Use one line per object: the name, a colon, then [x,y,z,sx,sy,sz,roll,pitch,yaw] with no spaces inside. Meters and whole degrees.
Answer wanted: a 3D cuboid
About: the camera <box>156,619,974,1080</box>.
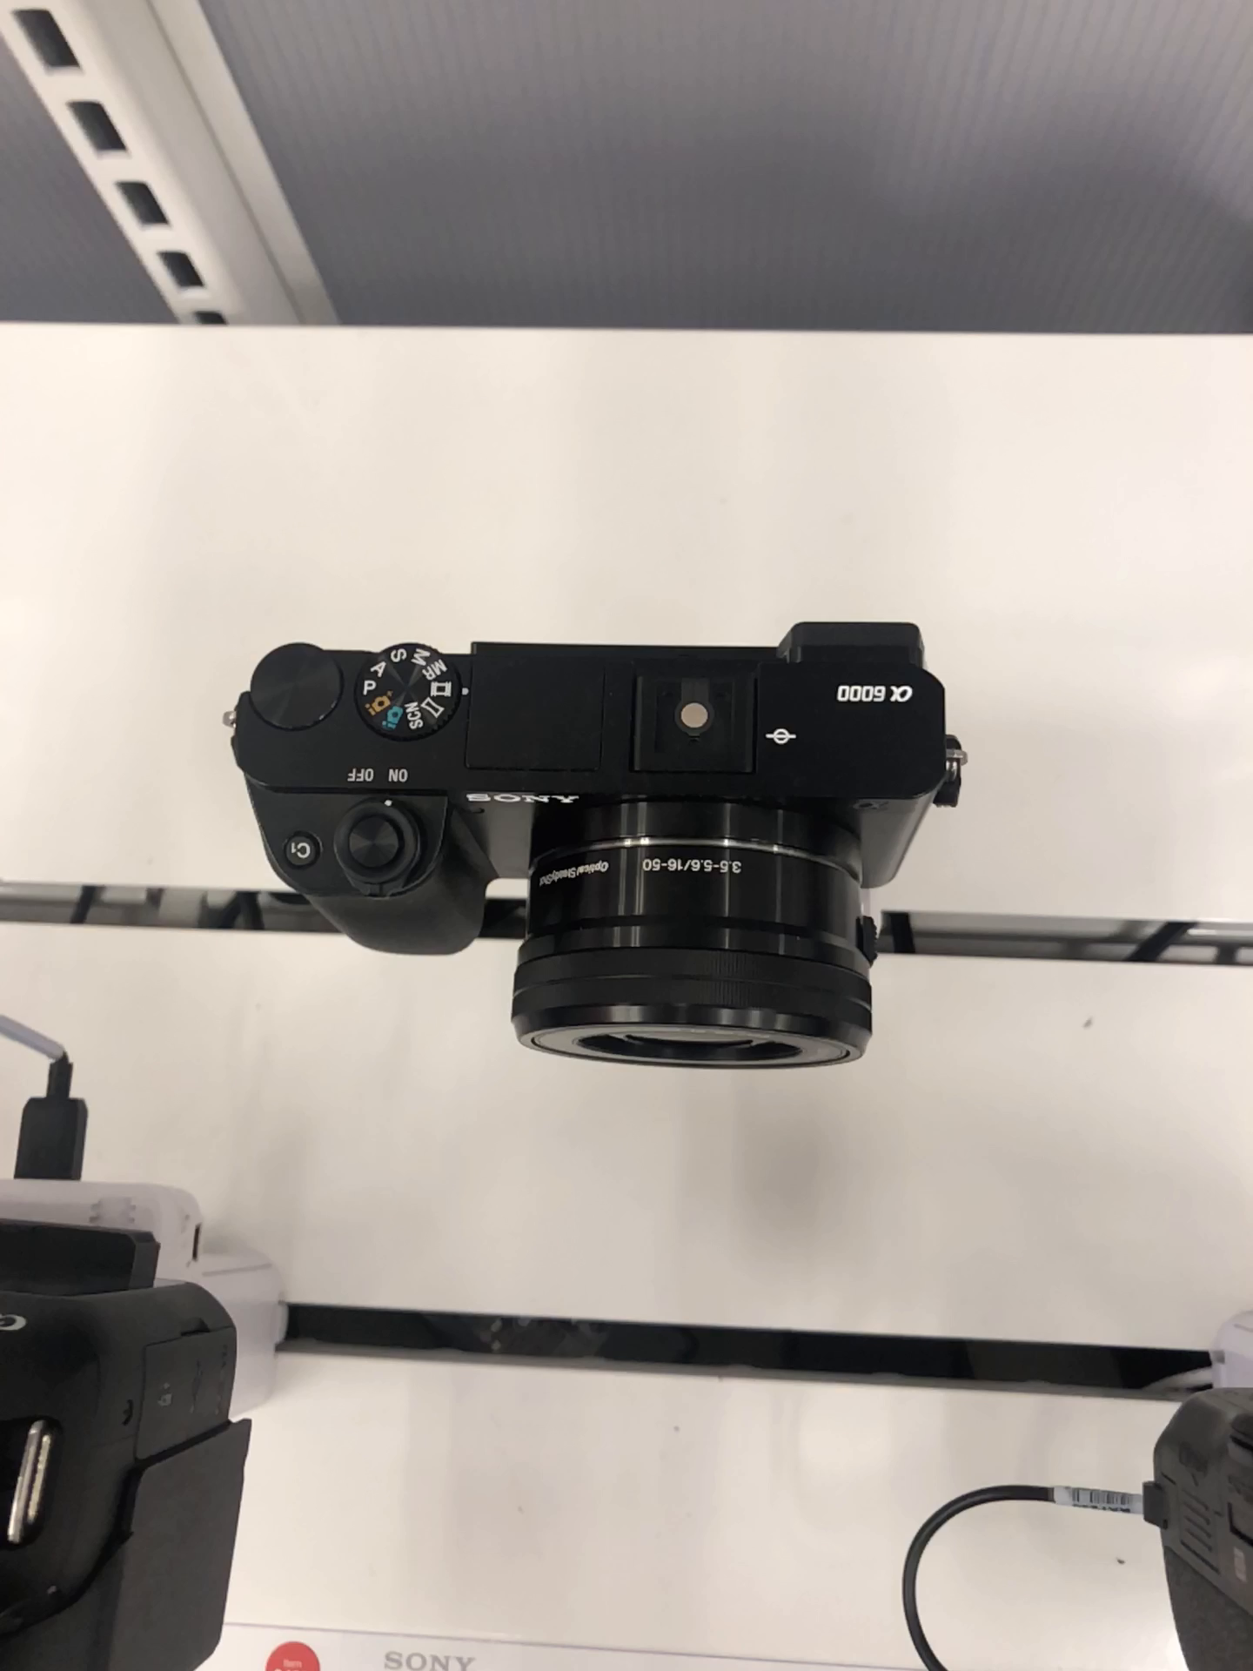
camera: [-0.008,0.005,0.240,0.120,0.058,0.067,0,77,3]
